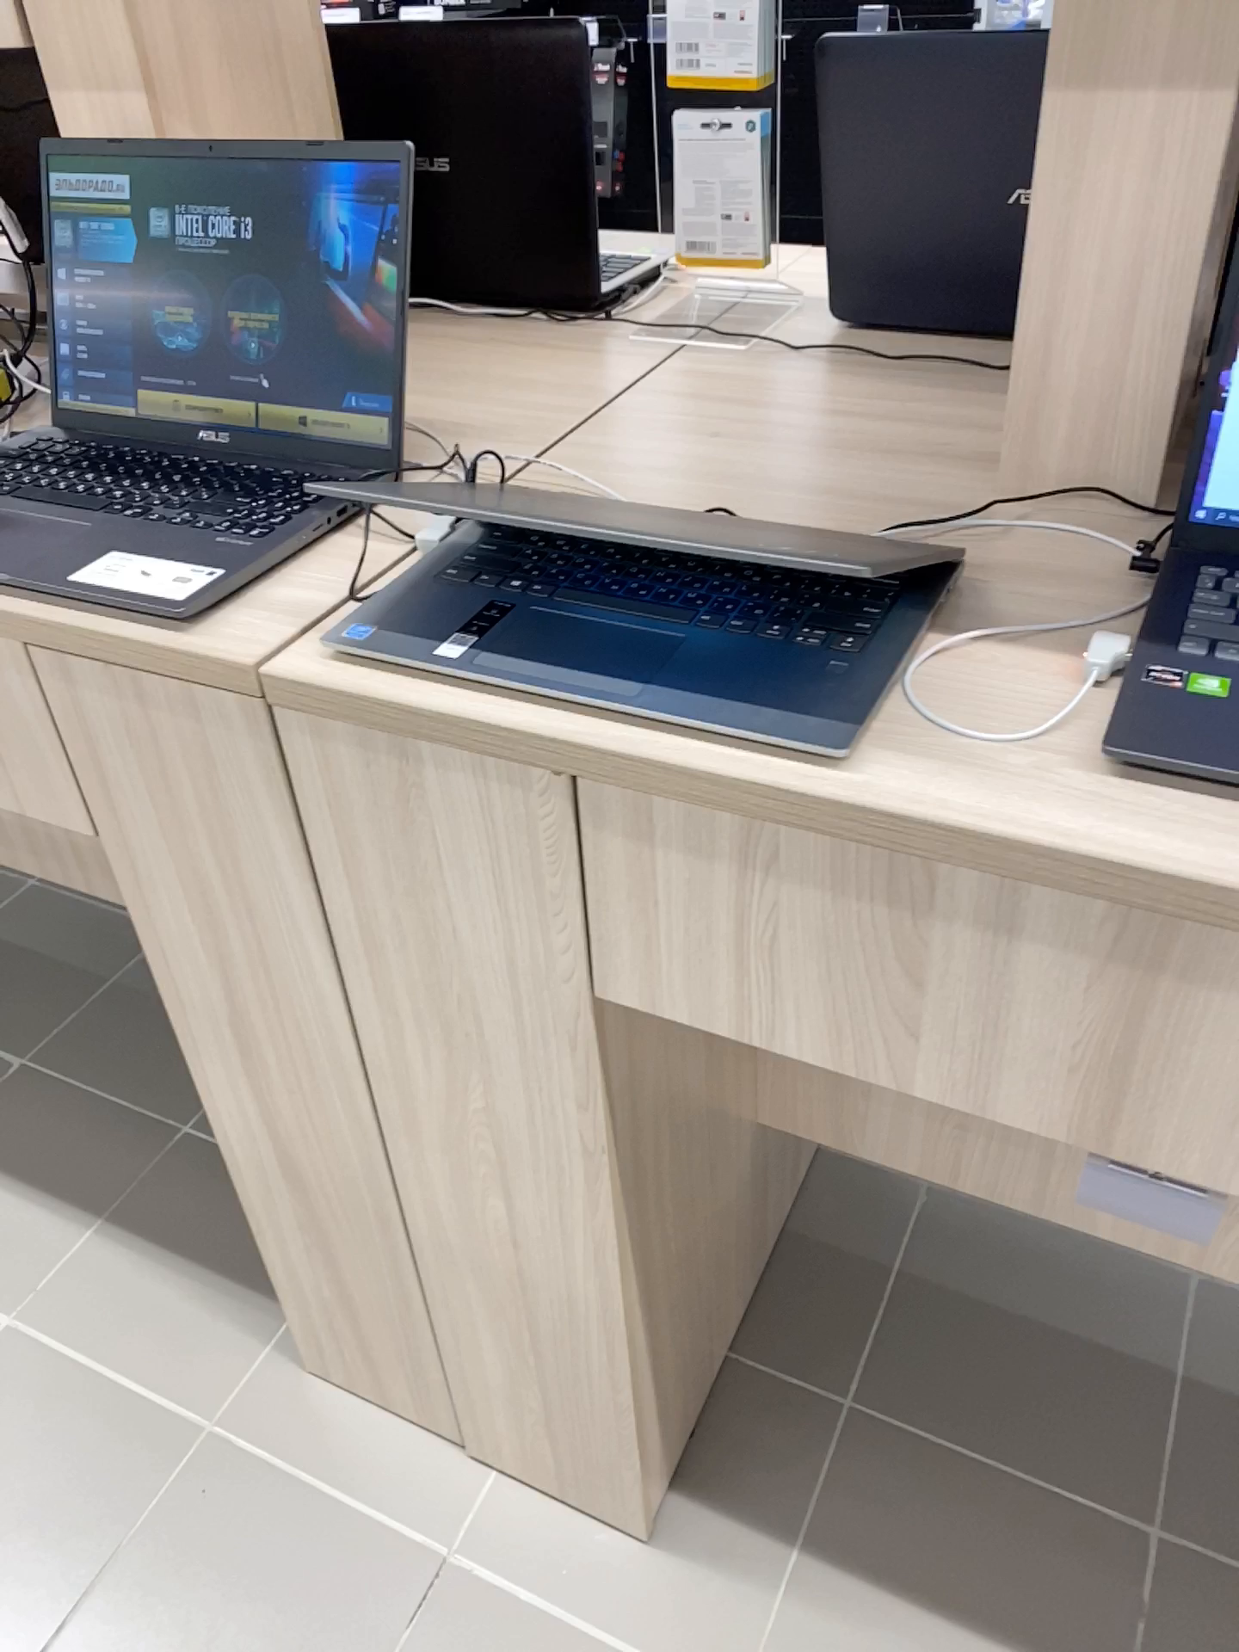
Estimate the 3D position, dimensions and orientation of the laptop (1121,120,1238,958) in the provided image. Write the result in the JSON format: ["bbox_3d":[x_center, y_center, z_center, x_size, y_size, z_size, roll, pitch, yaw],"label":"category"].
[{"bbox_3d":[0.467,-0.170,0.574,0.390,0.215,0.304,12,40,21],"label":"laptop"}]

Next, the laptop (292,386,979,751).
[{"bbox_3d":[0.014,-0.167,0.737,0.326,0.082,0.218,14,41,24],"label":"laptop"}]

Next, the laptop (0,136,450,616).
[{"bbox_3d":[-0.367,-0.340,0.893,0.352,0.212,0.309,14,40,23],"label":"laptop"}]
